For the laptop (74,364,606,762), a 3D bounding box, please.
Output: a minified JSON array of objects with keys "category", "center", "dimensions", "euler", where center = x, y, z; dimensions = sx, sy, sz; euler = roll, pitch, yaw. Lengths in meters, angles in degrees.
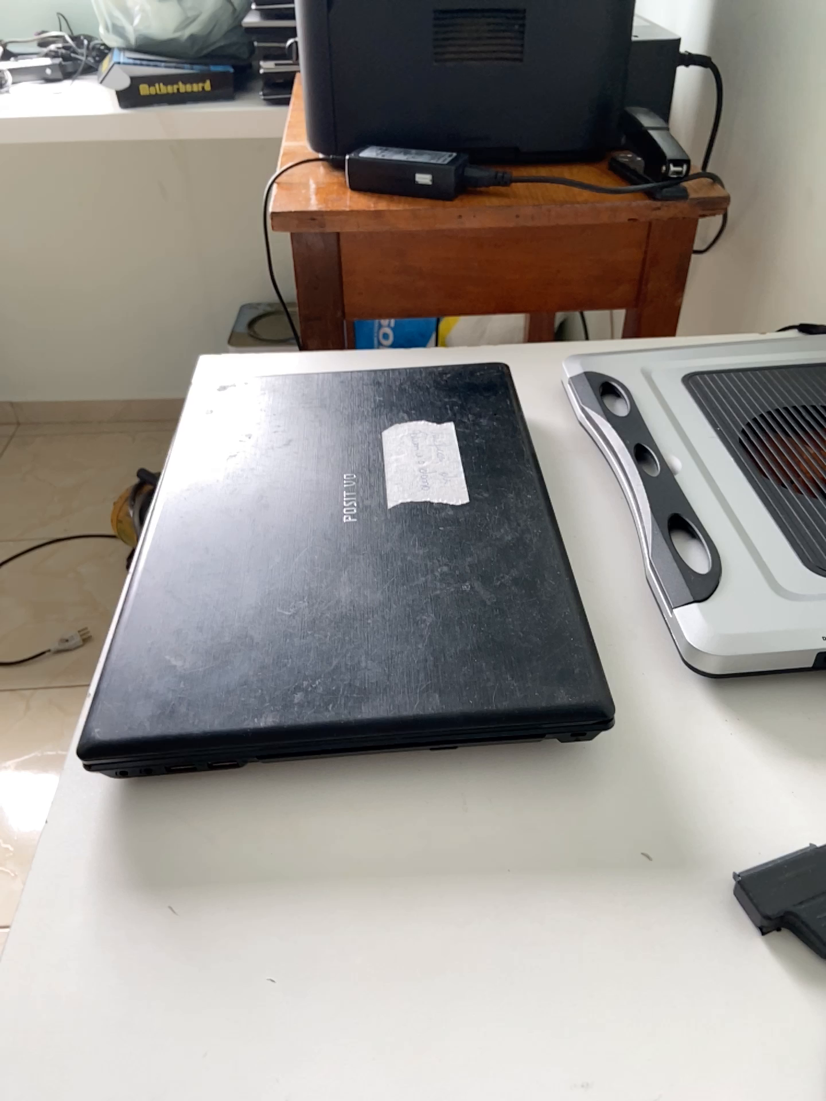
[{"category":"laptop","center":[-0.041,-0.022,0.501],"dimensions":[0.233,0.008,0.330],"euler":[-4,39,-1]}]
